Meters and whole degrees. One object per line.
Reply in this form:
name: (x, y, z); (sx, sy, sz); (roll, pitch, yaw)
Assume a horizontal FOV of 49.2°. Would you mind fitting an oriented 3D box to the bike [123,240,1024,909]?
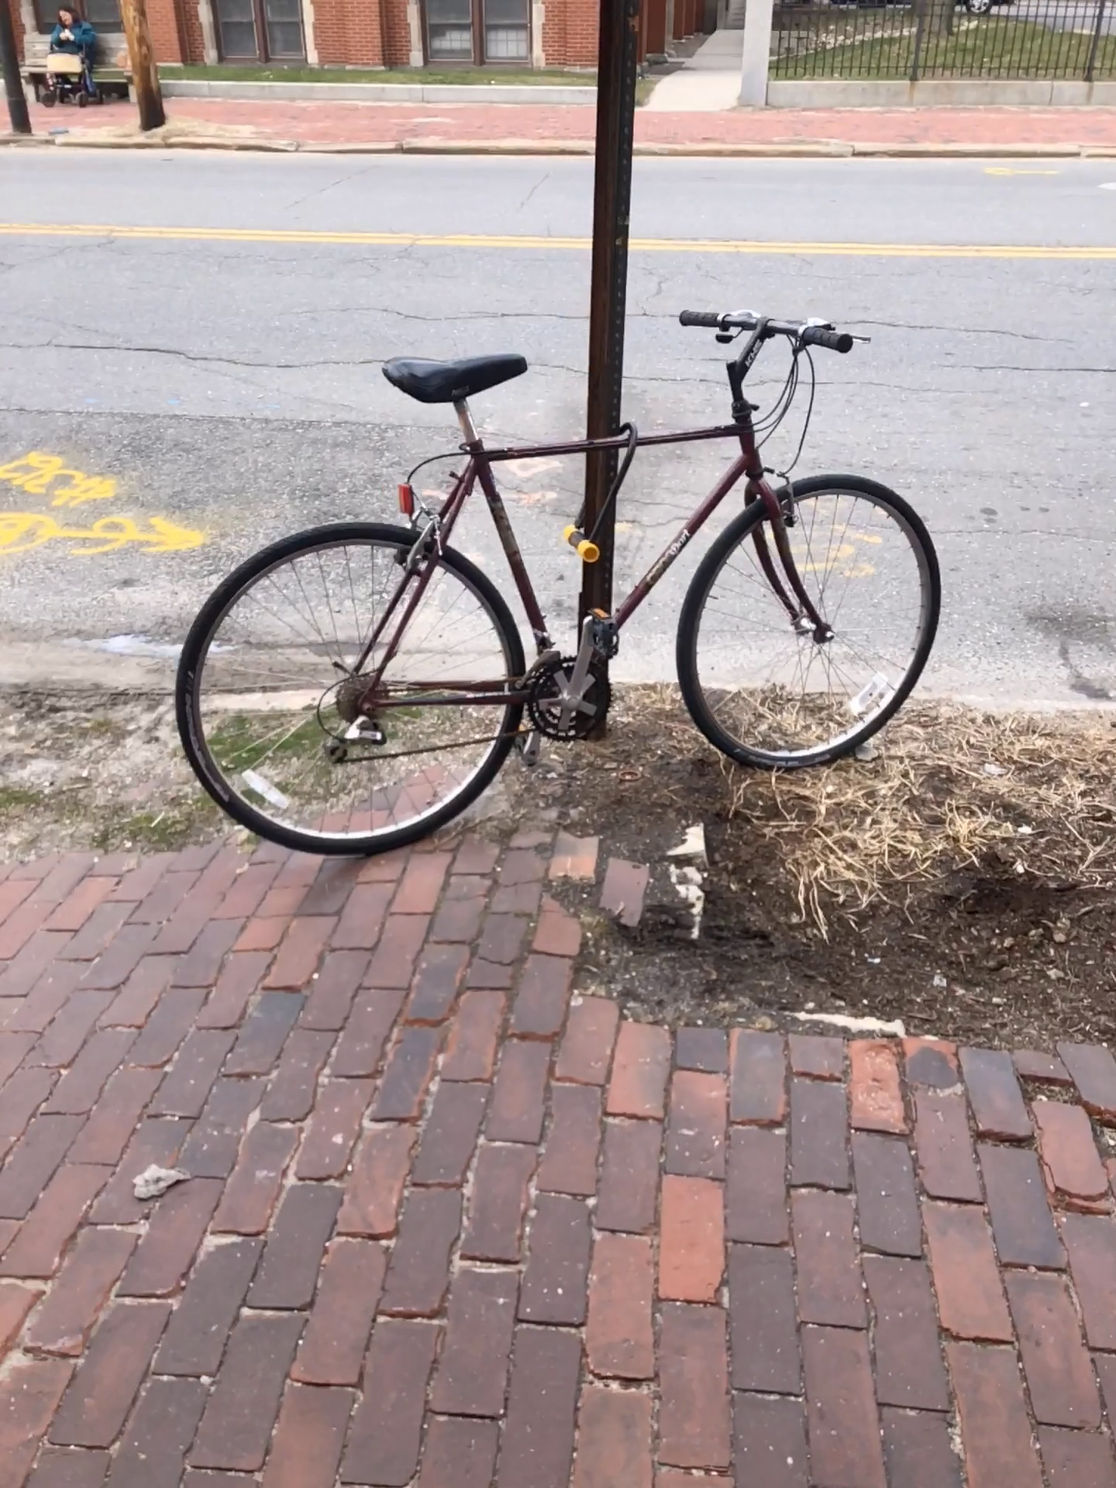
bike: (0.043, -0.424, 2.580); (1.684, 0.962, 0.557); (-13, 33, -18)
